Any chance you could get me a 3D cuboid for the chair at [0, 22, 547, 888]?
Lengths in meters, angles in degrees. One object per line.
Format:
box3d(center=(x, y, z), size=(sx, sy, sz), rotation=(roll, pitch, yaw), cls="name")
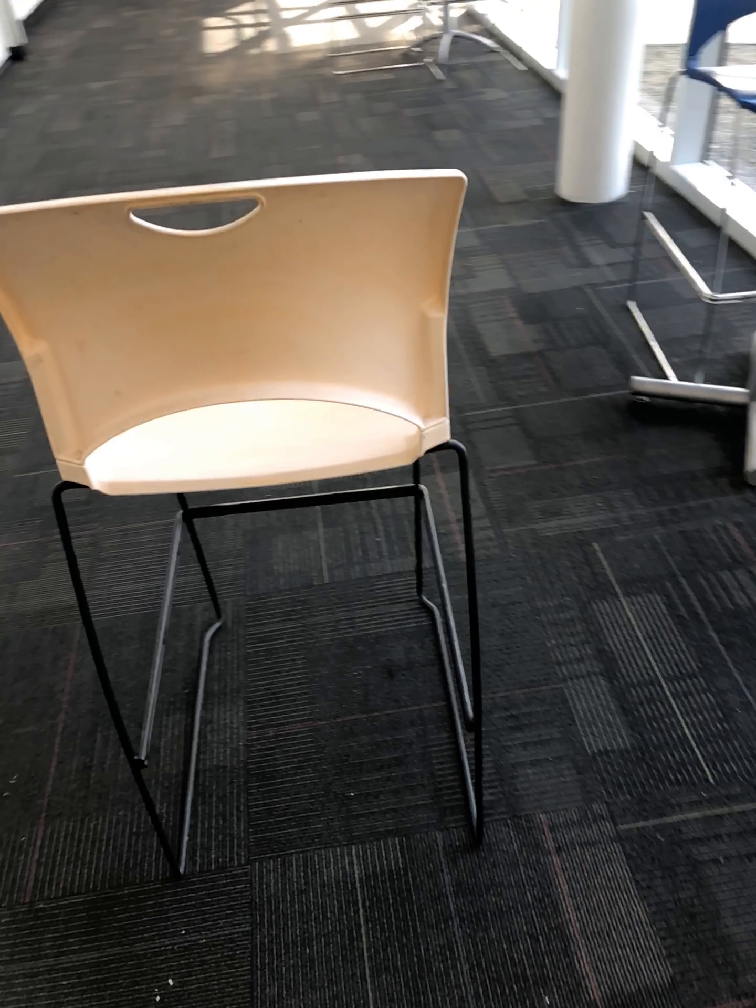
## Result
box3d(center=(-0.146, -0.055, 1.241), size=(0.580, 0.995, 0.724), rotation=(-6, 39, -1), cls="chair")
